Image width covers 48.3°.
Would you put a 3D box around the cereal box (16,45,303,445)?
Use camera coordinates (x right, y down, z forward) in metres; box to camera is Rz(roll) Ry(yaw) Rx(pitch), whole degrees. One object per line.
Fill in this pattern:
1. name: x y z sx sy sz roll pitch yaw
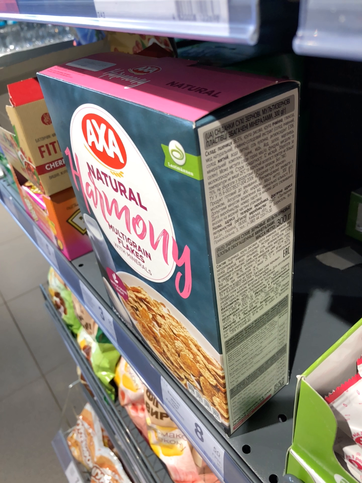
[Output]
1. cereal box: -0.014 -0.005 0.284 0.070 0.218 0.181 -29 39 -25
